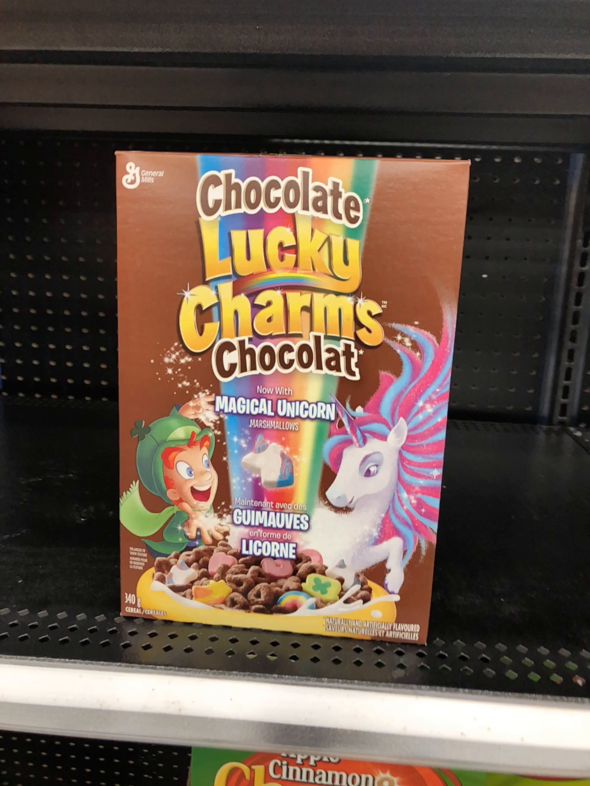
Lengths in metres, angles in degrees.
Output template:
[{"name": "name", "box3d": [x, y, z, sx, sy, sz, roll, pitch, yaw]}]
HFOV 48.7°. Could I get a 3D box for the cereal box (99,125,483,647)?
[{"name": "cereal box", "box3d": [-0.007, -0.002, 0.392, 0.200, 0.289, 0.050, 3, 12, 6]}]
